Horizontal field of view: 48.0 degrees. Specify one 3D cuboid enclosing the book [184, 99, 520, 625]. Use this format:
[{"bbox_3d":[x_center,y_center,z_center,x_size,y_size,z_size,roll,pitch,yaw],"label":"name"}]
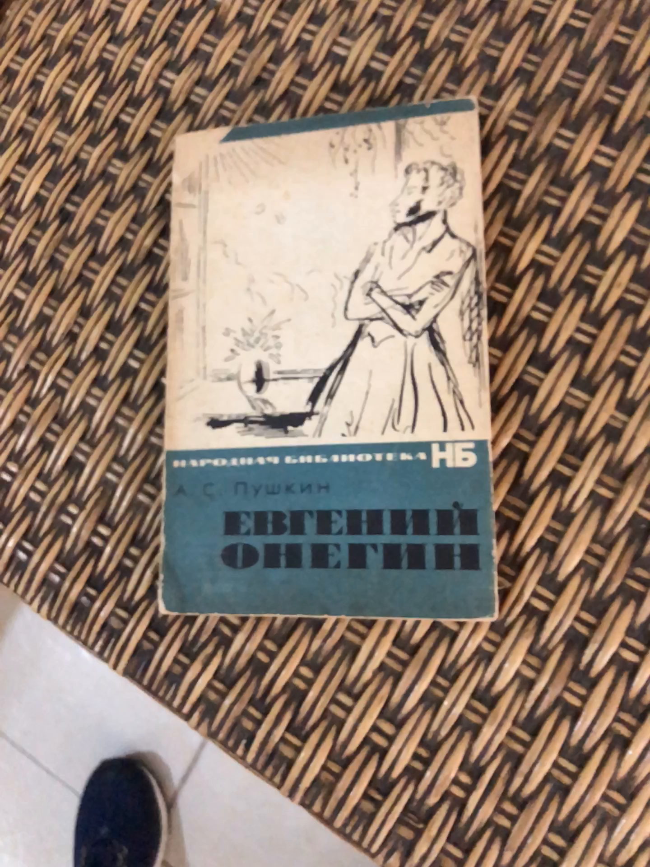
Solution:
[{"bbox_3d":[0.009,-0.027,0.280,0.120,0.020,0.190,-2,81,12],"label":"book"}]
